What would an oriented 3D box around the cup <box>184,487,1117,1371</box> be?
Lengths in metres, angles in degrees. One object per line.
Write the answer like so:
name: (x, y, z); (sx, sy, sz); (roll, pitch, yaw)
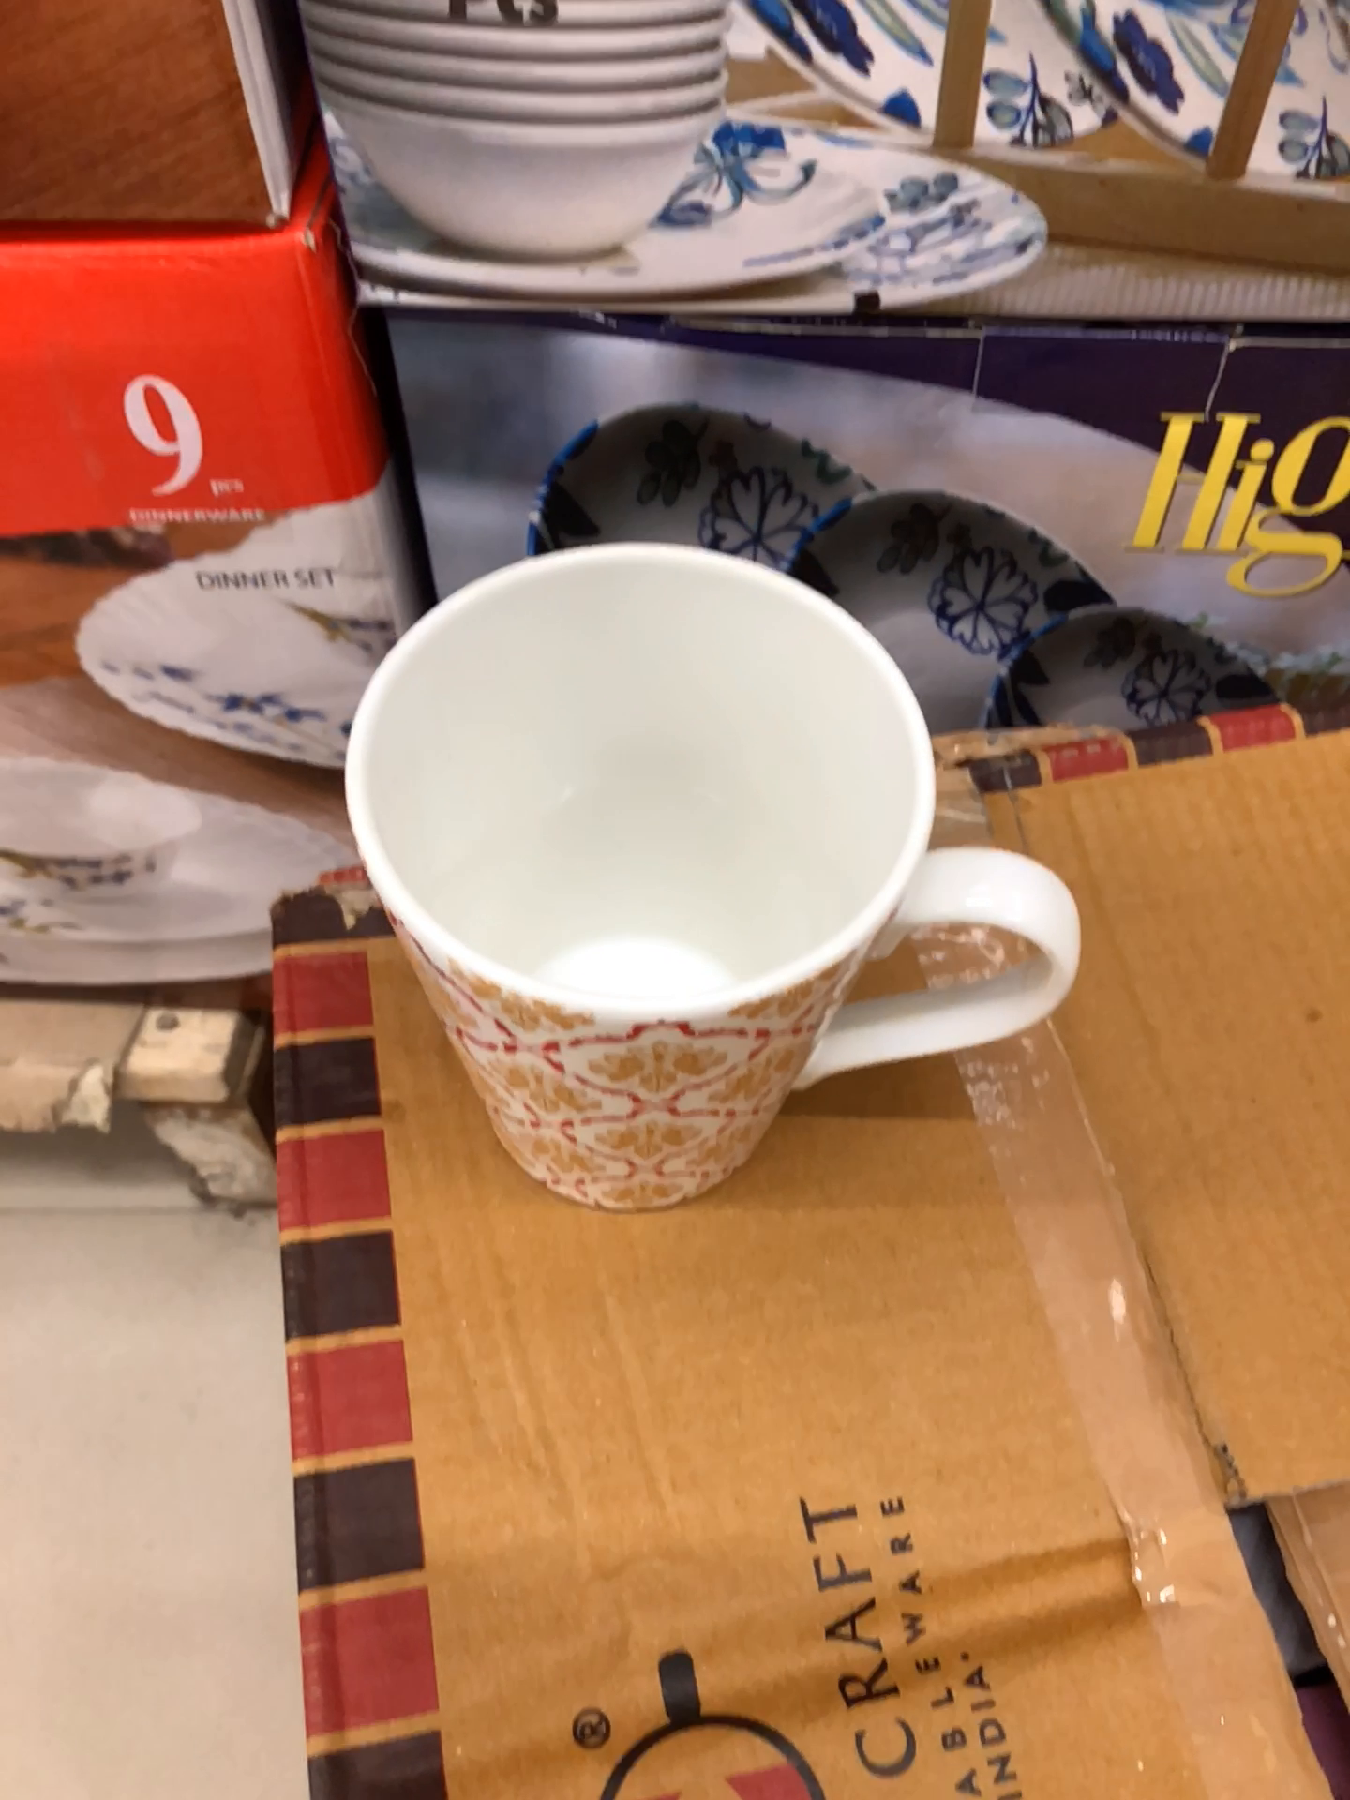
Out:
cup: (0.003, 0.006, 0.241); (0.110, 0.090, 0.091); (10, 55, 7)
